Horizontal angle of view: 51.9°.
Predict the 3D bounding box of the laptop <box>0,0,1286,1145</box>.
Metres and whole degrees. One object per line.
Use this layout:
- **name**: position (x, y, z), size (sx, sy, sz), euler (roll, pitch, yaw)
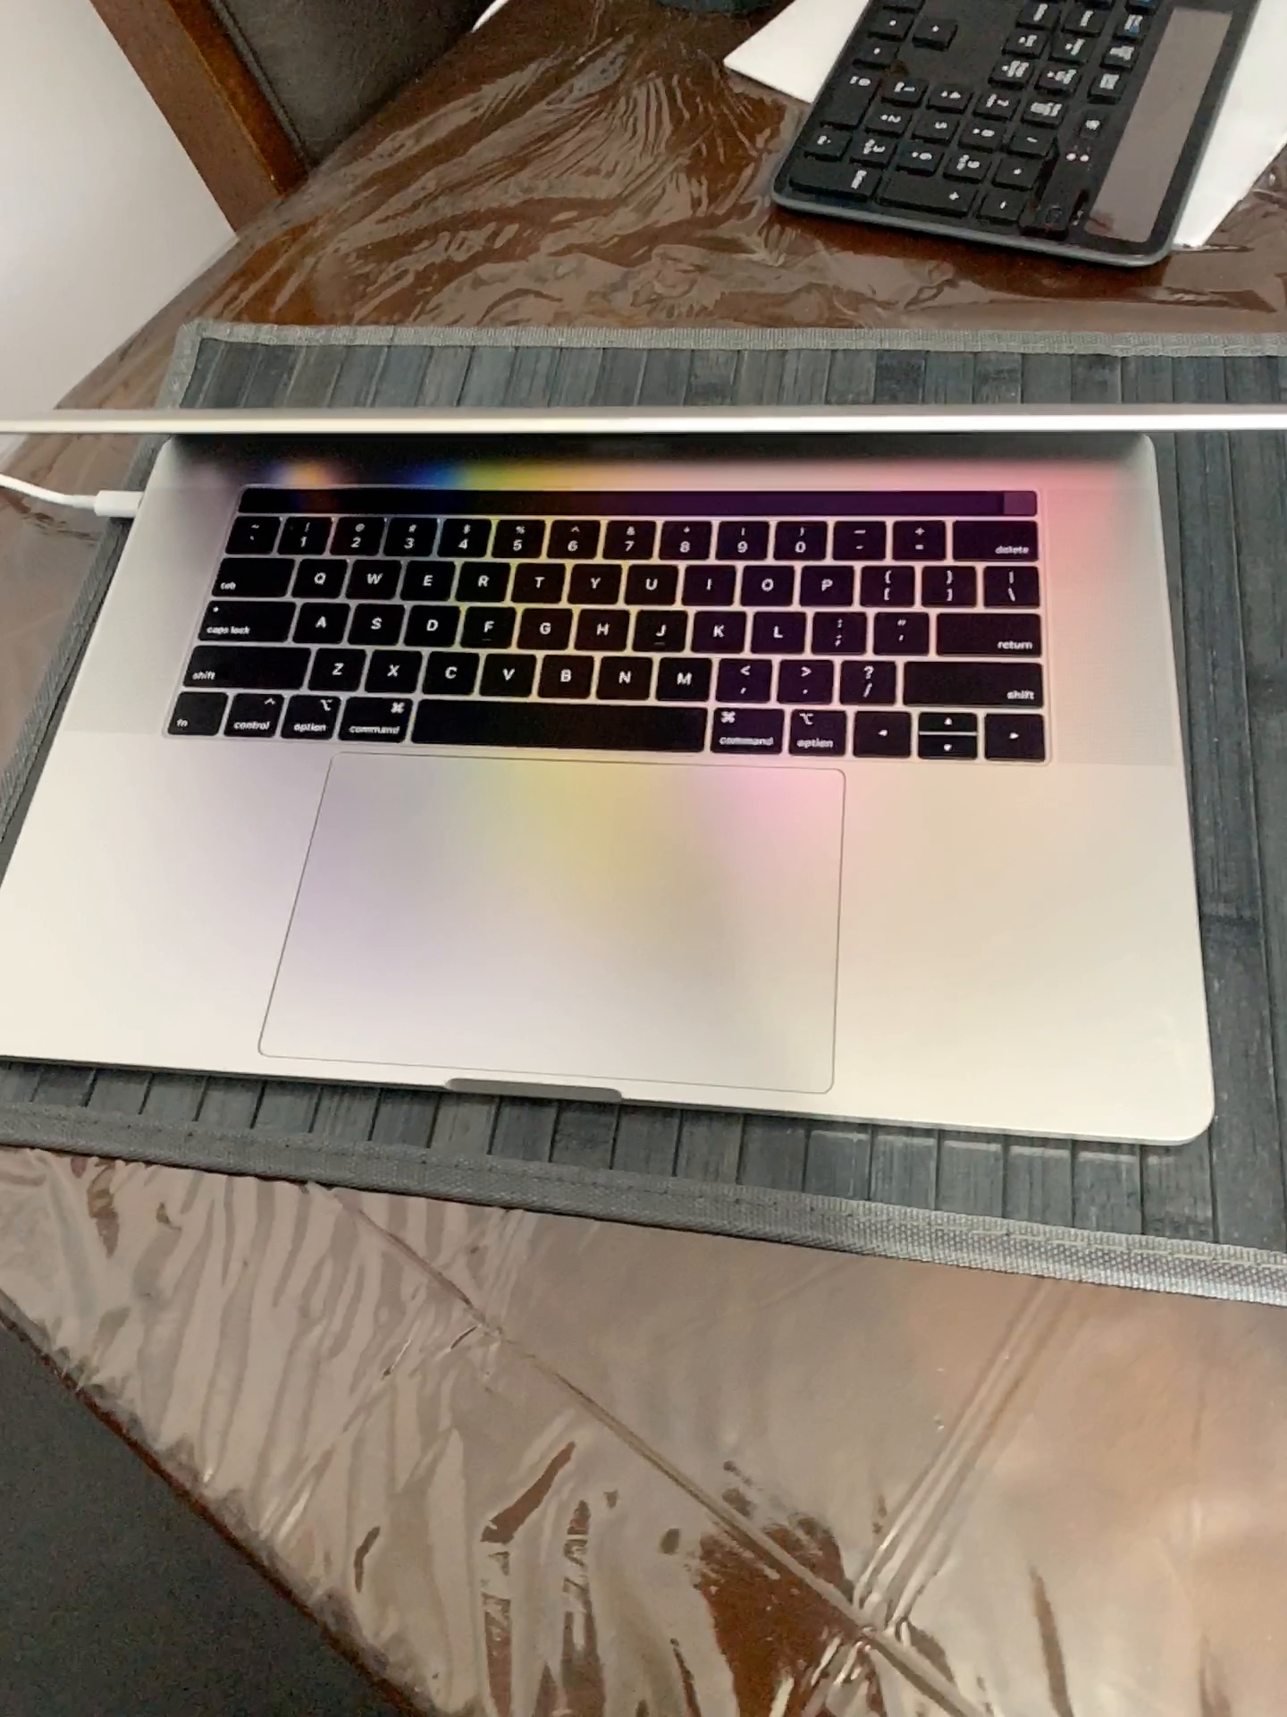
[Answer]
- **laptop**: position (-0.026, -0.080, 0.332), size (0.342, 0.166, 0.233), euler (3, 63, 9)
